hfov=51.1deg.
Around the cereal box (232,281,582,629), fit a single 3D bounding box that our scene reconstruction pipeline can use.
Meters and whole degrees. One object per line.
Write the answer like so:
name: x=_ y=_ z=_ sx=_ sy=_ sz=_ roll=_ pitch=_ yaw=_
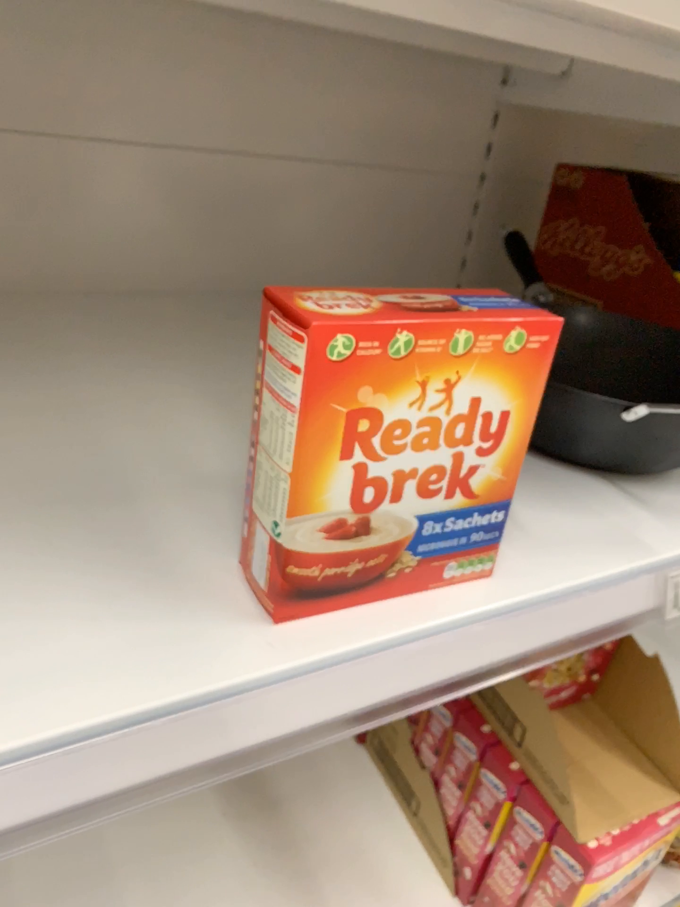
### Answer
cereal box: x=0.036 y=-0.004 z=0.451 sx=0.181 sy=0.188 sz=0.070 roll=-6 pitch=30 yaw=-28
